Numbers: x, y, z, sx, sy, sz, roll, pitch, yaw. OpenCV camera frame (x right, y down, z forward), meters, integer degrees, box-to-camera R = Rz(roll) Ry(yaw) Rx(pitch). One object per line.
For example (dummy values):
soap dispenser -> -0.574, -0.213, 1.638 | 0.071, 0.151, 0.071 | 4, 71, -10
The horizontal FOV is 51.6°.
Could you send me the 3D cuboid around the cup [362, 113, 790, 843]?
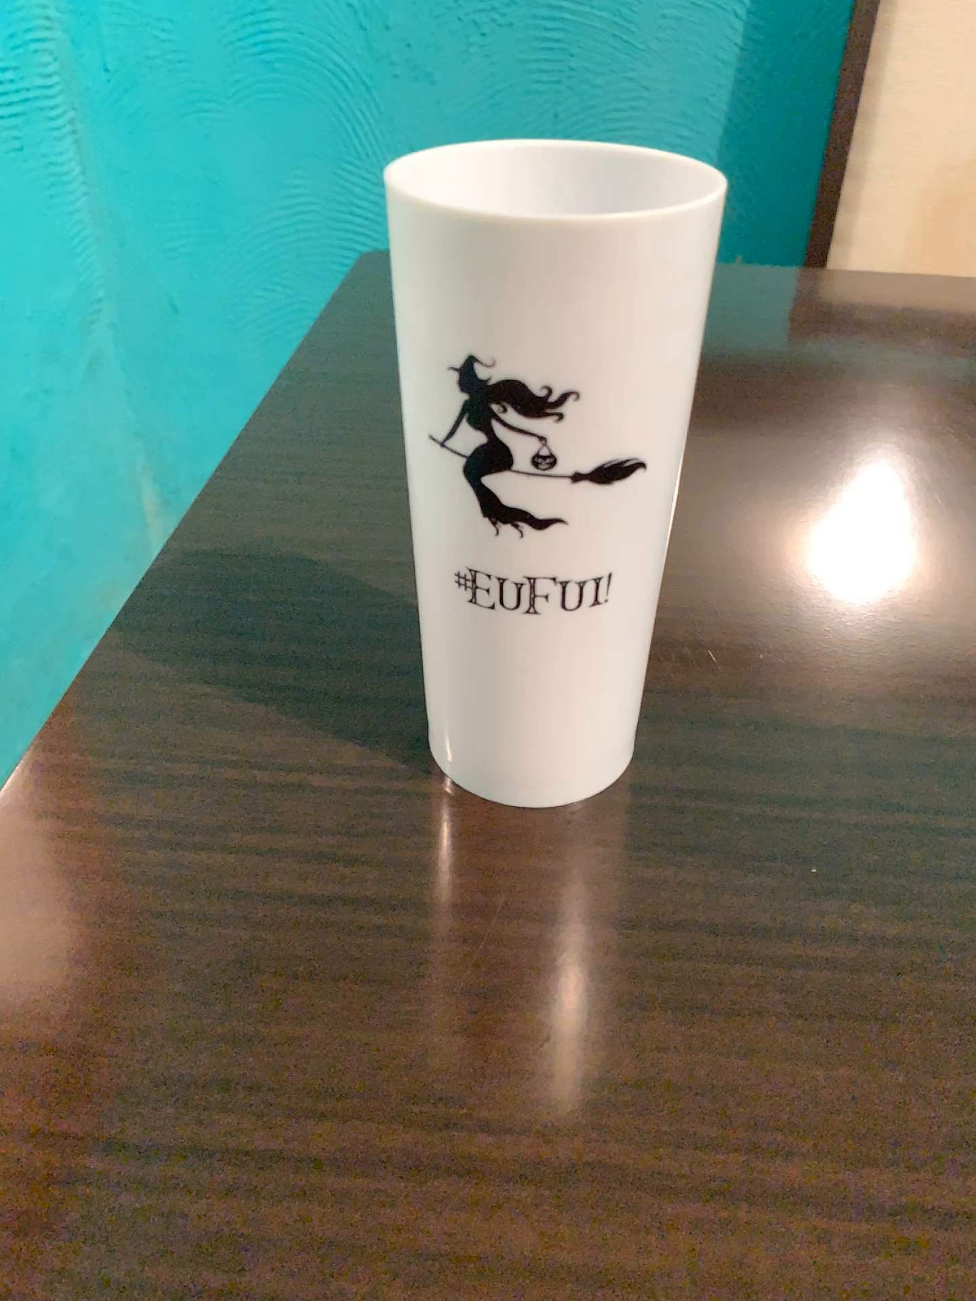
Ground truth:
cup -> 0.016, -0.036, 0.238 | 0.070, 0.149, 0.070 | 1, 37, -1
